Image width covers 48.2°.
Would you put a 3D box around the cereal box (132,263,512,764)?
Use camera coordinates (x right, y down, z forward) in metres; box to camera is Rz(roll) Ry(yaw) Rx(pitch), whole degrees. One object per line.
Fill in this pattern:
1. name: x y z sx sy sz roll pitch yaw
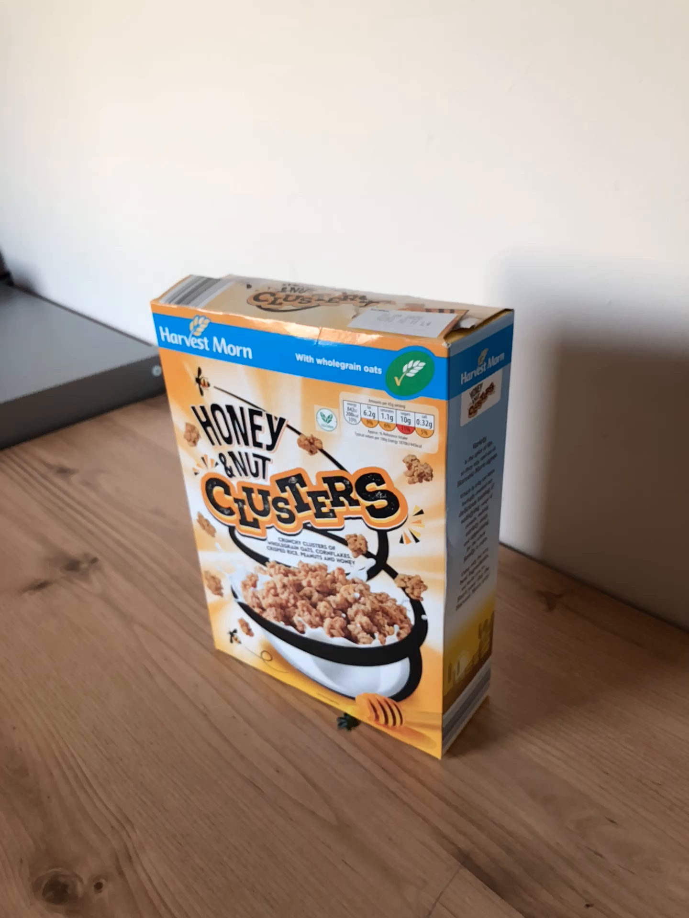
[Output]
1. cereal box: -0.009 0.027 0.451 0.190 0.248 0.070 15 34 32
